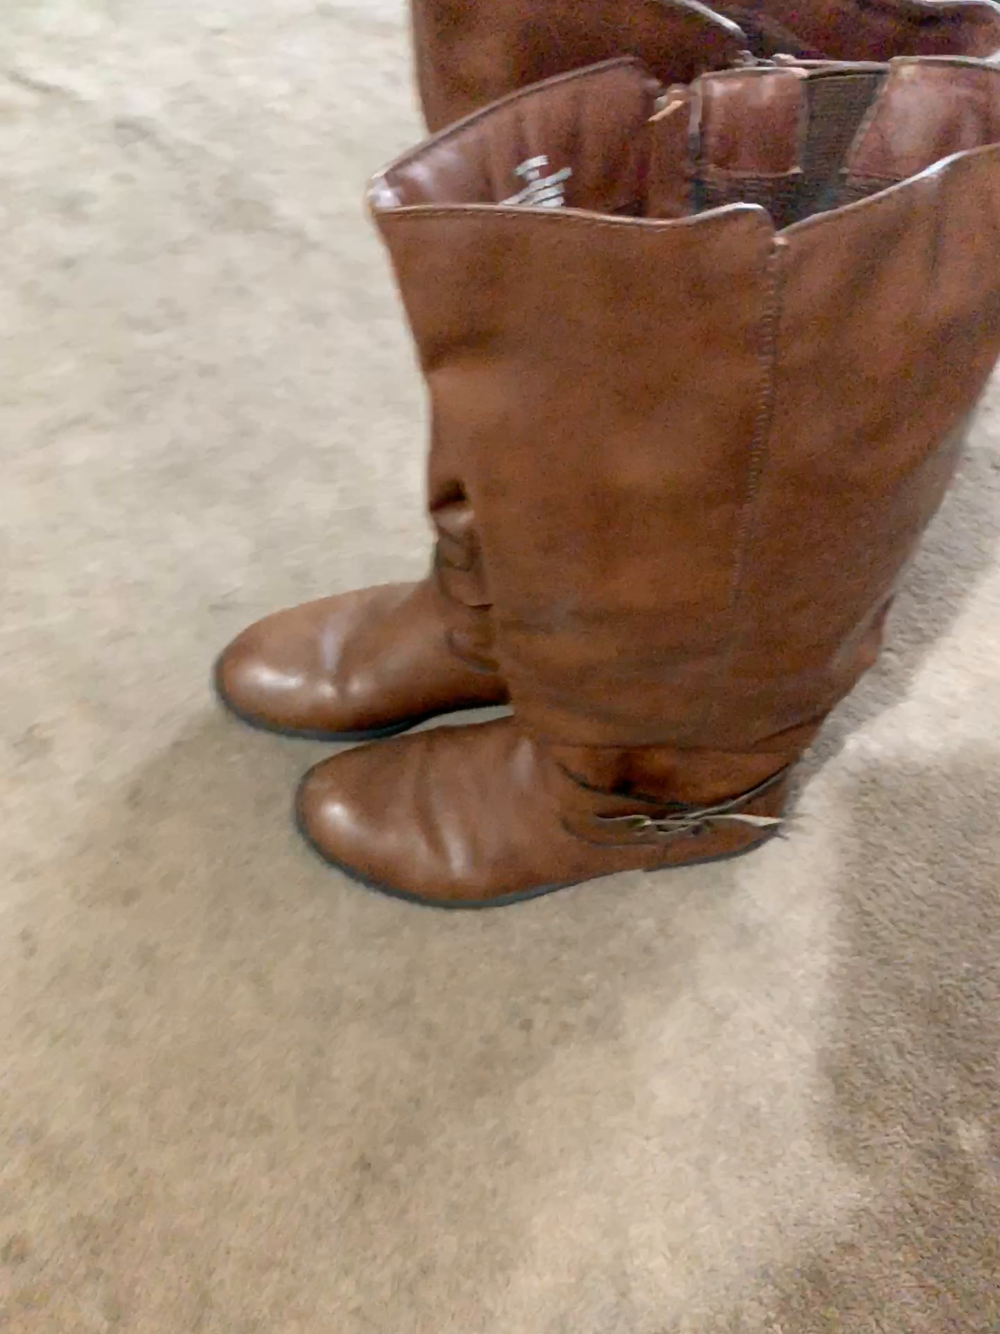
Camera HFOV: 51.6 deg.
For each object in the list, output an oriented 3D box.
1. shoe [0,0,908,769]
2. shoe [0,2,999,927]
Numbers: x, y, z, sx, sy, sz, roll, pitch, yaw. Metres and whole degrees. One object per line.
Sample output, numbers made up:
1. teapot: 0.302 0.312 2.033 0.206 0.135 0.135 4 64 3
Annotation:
1. shoe: -0.040 -0.094 0.415 0.260 0.368 0.111 -6 62 -2
2. shoe: 0.015 -0.010 0.392 0.270 0.398 0.121 0 62 1
